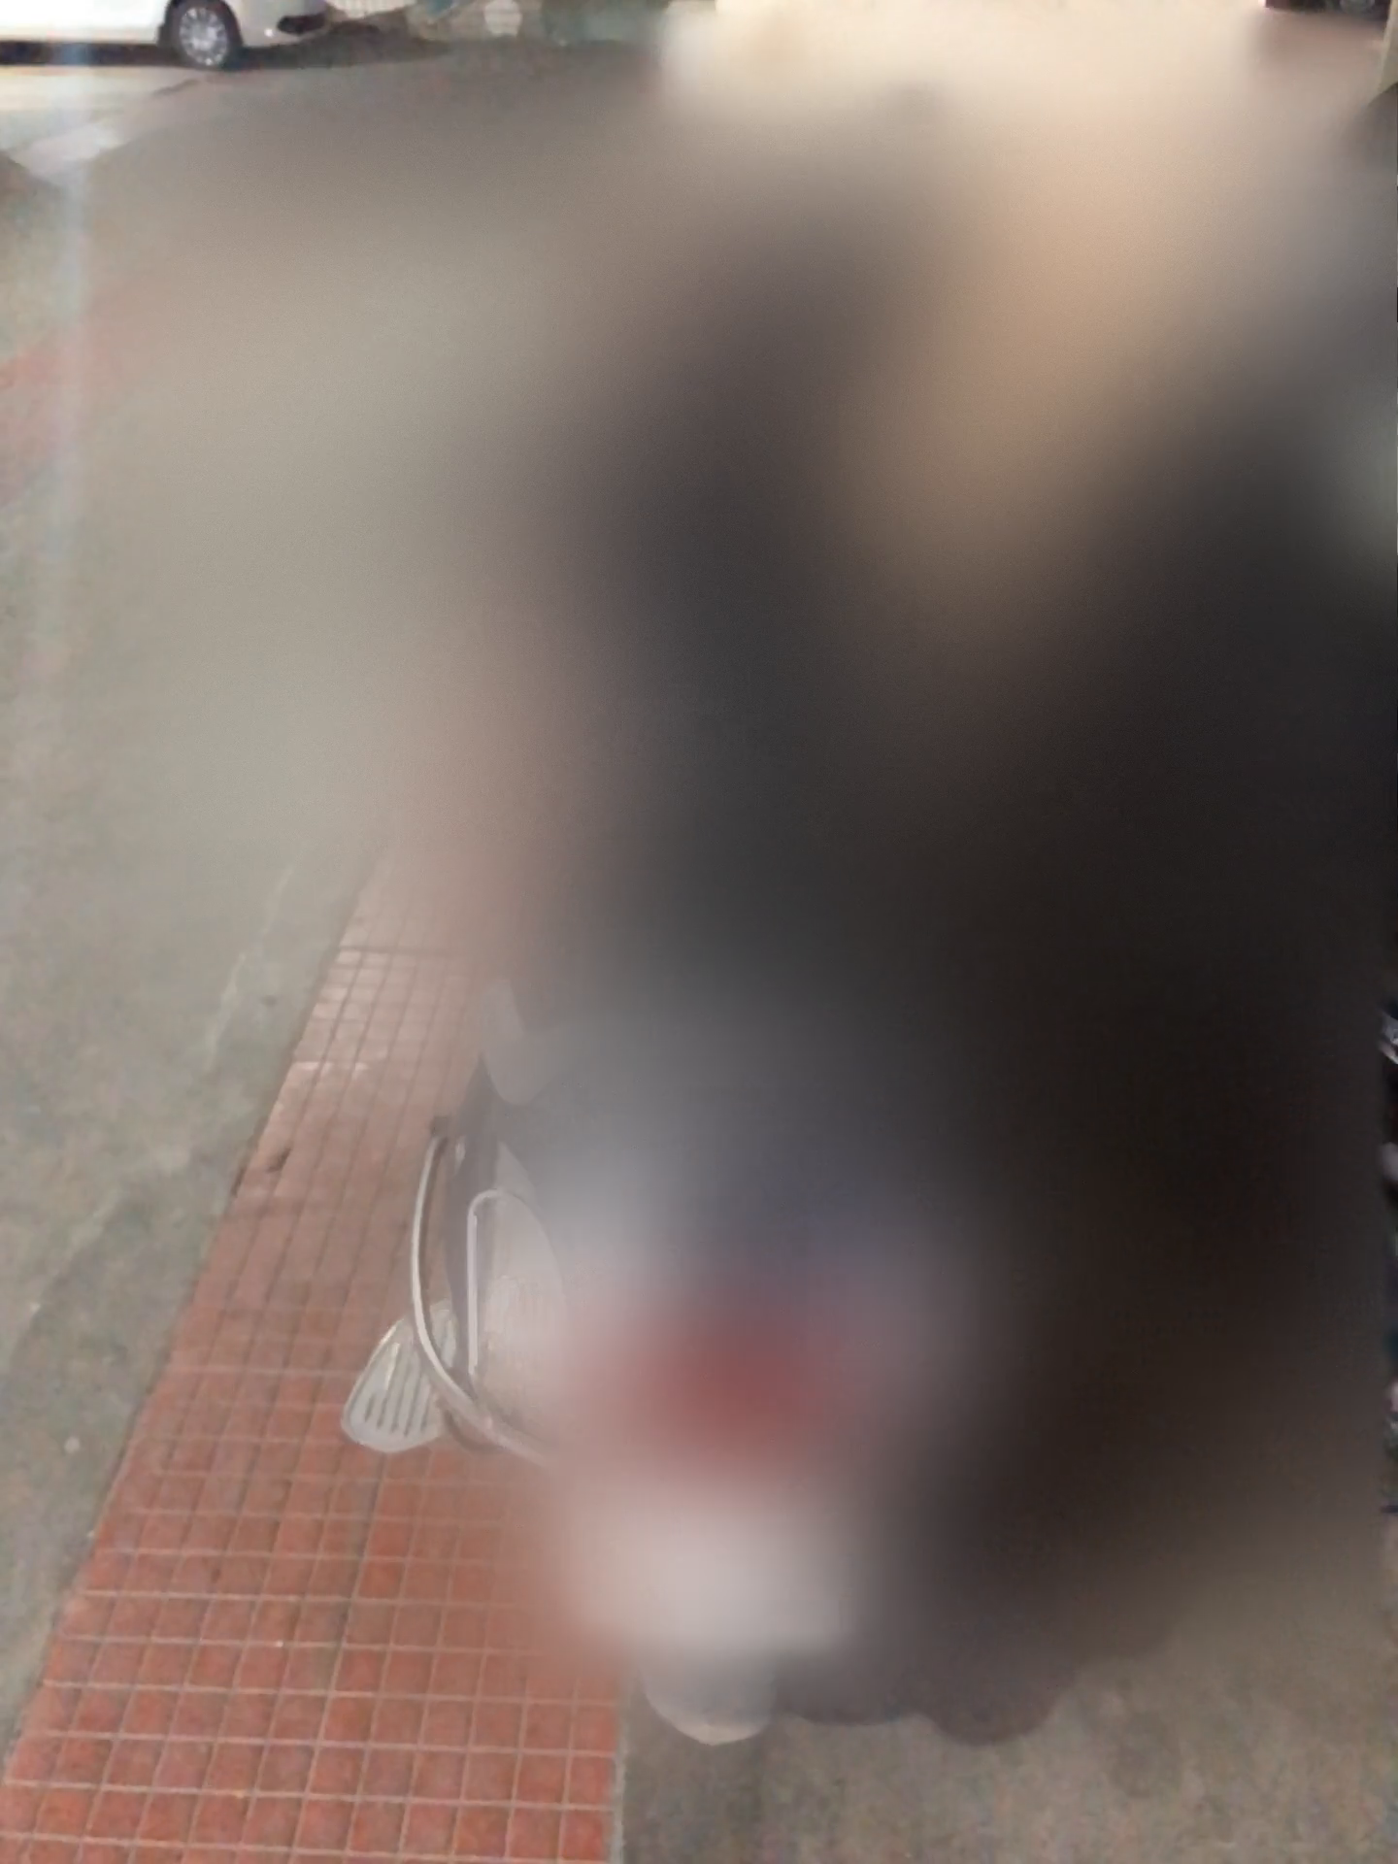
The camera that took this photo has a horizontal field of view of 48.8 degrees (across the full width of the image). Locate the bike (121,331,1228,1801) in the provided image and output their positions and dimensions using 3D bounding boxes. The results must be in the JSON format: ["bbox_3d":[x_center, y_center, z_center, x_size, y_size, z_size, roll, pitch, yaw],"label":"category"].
[{"bbox_3d":[-0.078,-0.027,1.749,0.594,0.988,1.502,-2,32,-3],"label":"bike"}]
